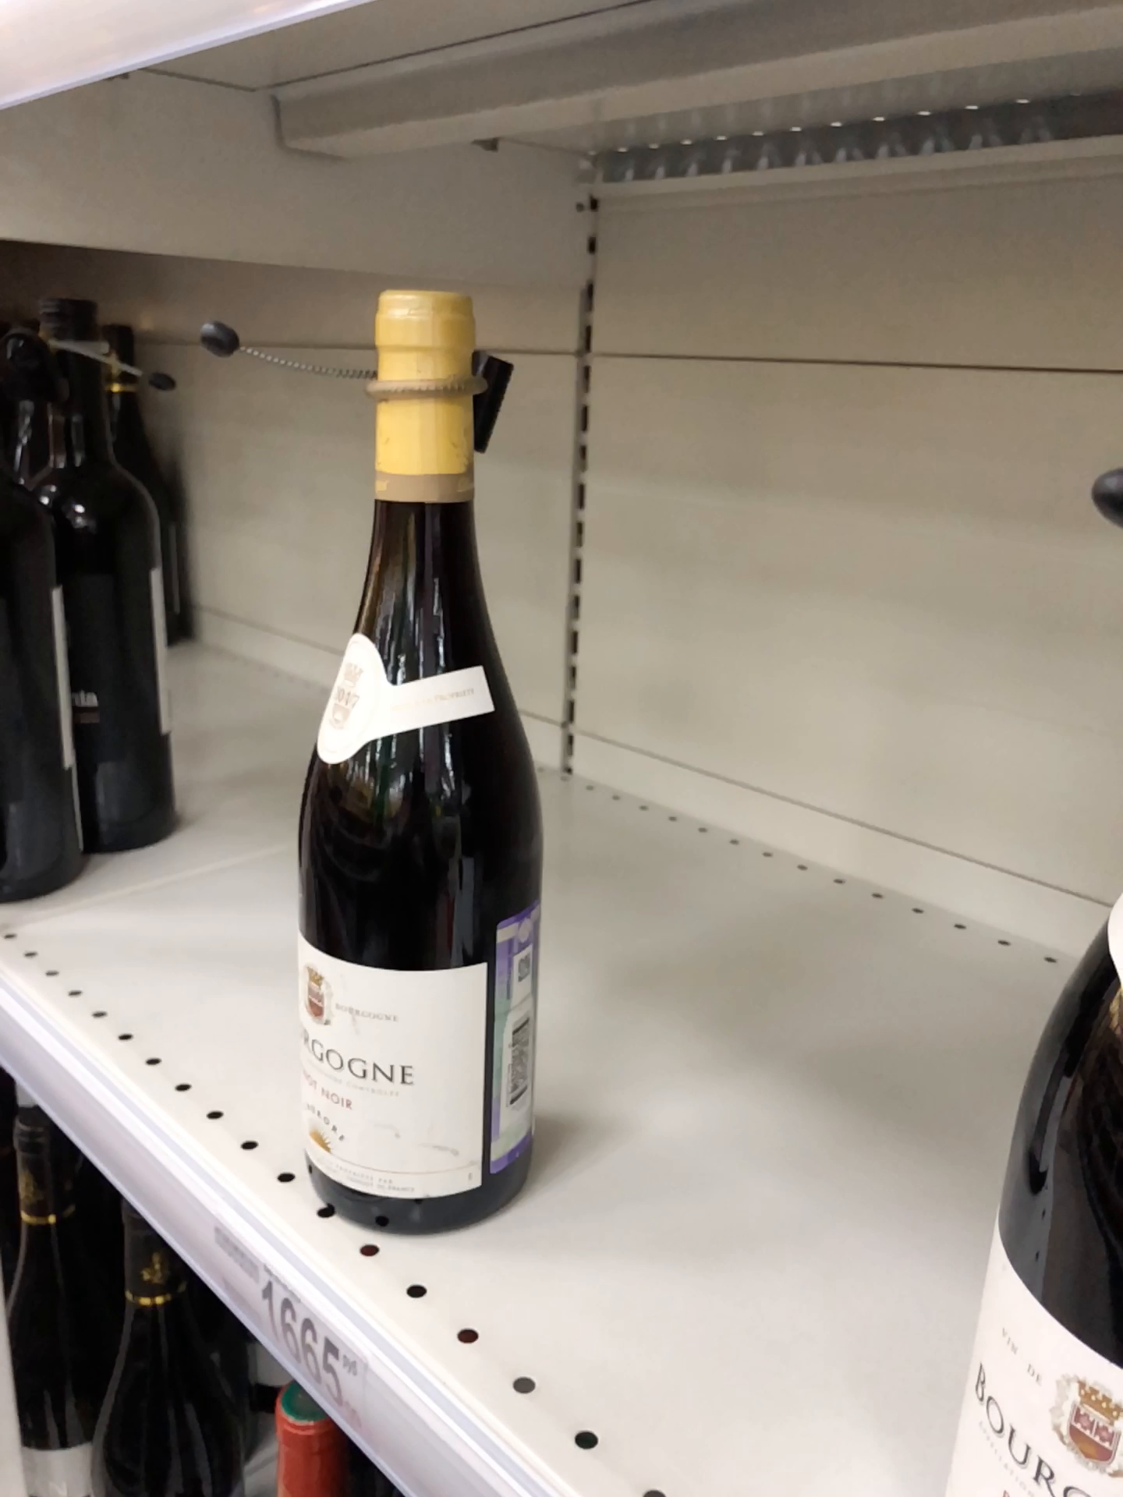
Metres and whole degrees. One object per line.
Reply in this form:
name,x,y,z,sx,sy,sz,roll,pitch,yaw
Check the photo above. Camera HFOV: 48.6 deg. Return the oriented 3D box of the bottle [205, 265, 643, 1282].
bottle,-0.046,0.005,0.398,0.090,0.289,0.090,2,16,-1
